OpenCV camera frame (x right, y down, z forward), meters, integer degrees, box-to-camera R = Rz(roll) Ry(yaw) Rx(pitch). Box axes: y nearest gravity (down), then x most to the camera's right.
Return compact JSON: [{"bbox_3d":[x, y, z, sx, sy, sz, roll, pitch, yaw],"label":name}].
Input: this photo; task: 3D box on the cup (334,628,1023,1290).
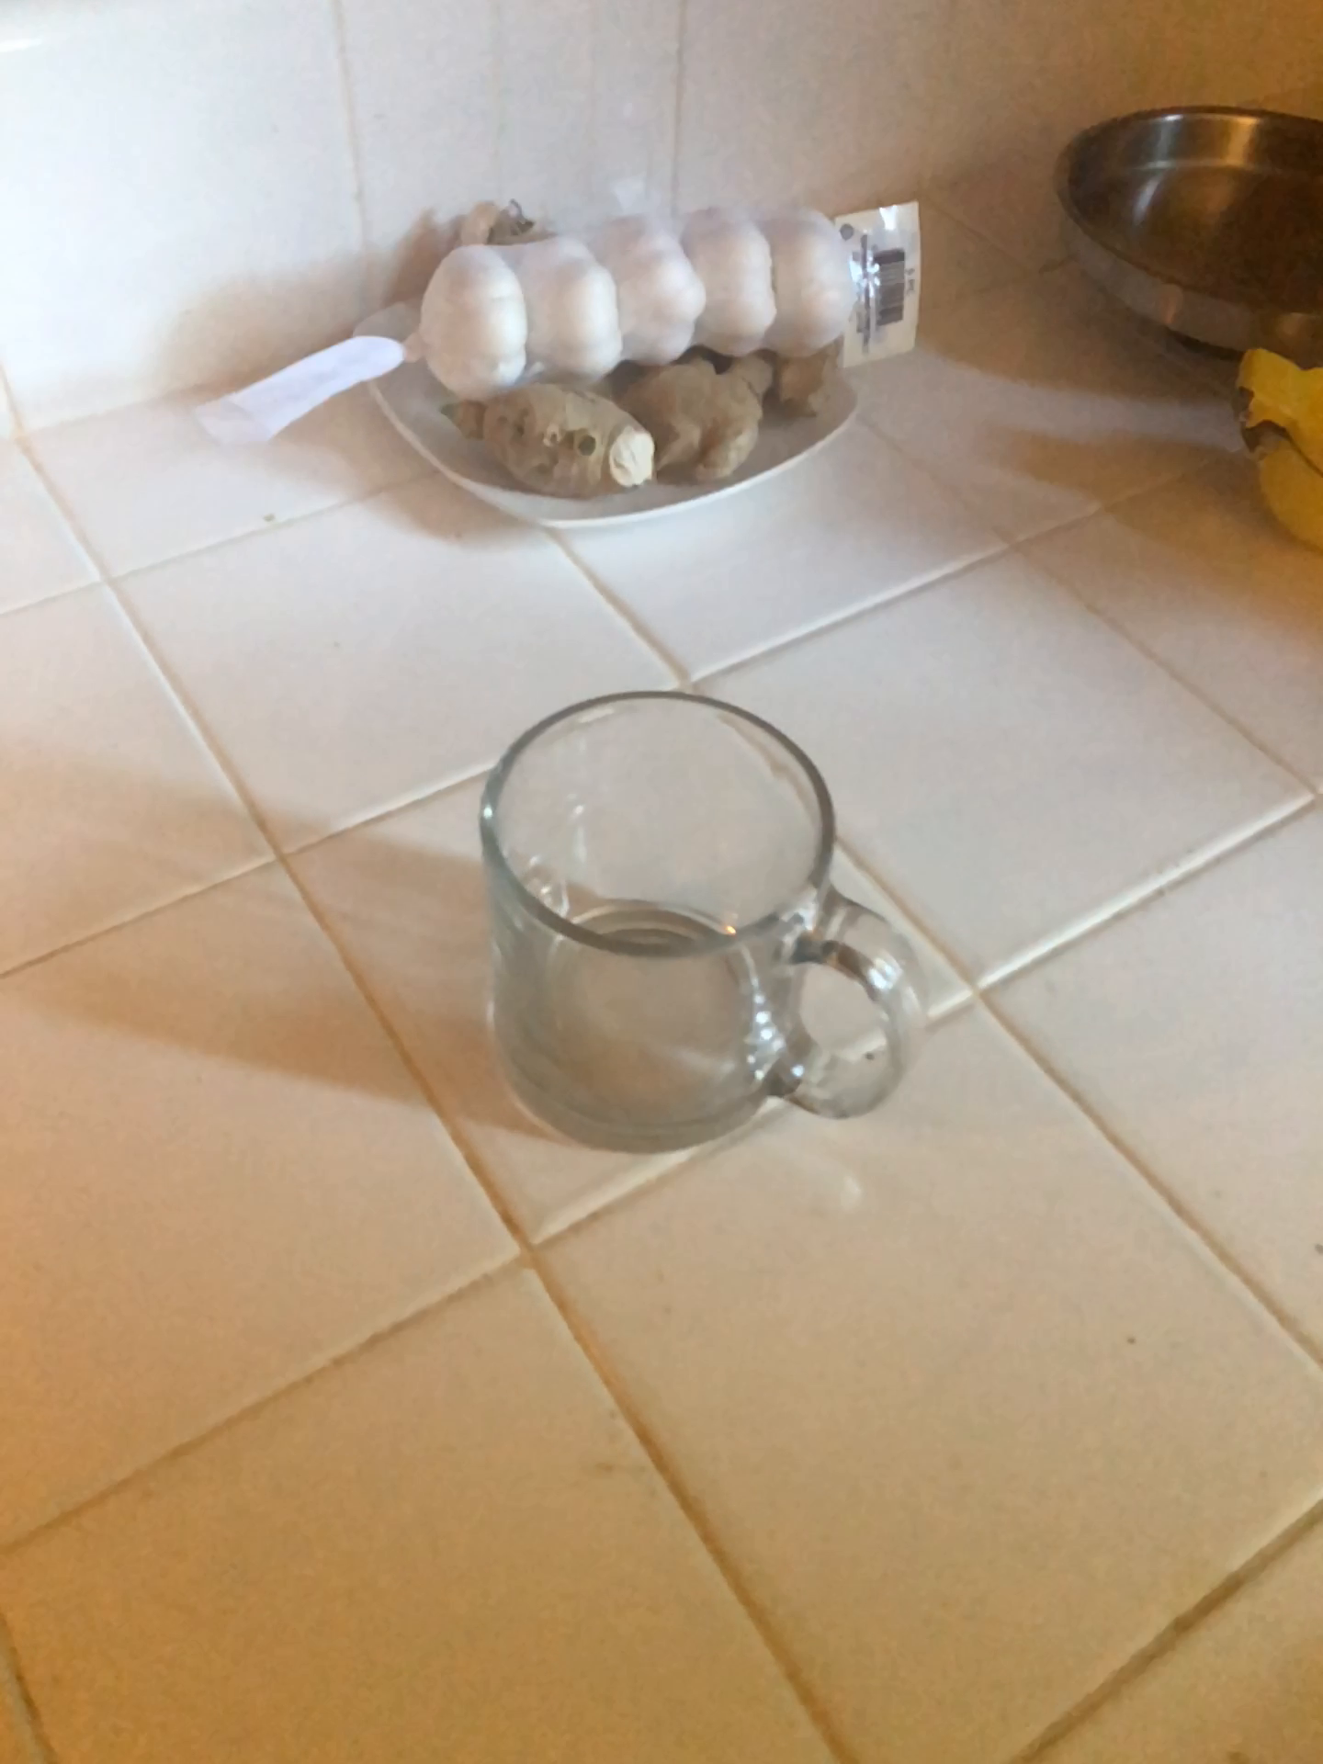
[{"bbox_3d":[0.005,0.016,0.366,0.130,0.079,0.101,21,53,13],"label":"cup"}]
